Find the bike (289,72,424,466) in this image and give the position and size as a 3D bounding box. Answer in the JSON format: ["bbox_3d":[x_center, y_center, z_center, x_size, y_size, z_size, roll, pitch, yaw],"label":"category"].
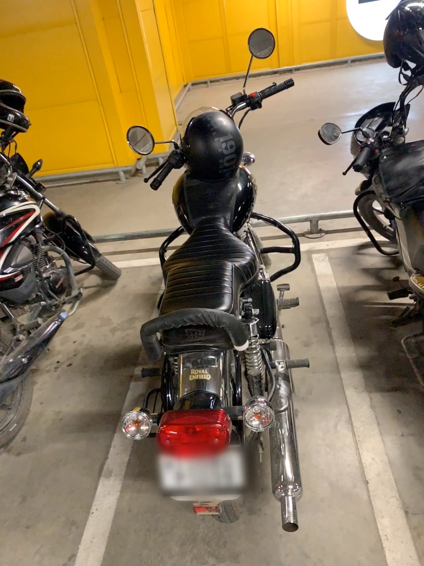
[{"bbox_3d":[0.772,-0.272,1.858,0.598,0.924,1.728,-7,31,5],"label":"bike"}]

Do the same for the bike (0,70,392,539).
[{"bbox_3d":[-0.092,-0.152,1.817,0.763,1.050,1.834,-9,33,1],"label":"bike"}]
